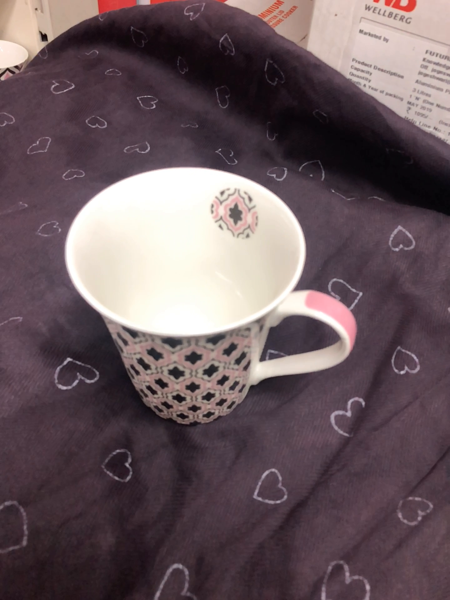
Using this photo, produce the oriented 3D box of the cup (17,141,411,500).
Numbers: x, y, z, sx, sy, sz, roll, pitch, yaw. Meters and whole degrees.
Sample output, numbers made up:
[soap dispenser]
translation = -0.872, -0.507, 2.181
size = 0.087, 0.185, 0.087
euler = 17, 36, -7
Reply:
[cup]
translation = 0.000, 0.006, 0.212
size = 0.120, 0.080, 0.090
euler = 19, 50, 9
